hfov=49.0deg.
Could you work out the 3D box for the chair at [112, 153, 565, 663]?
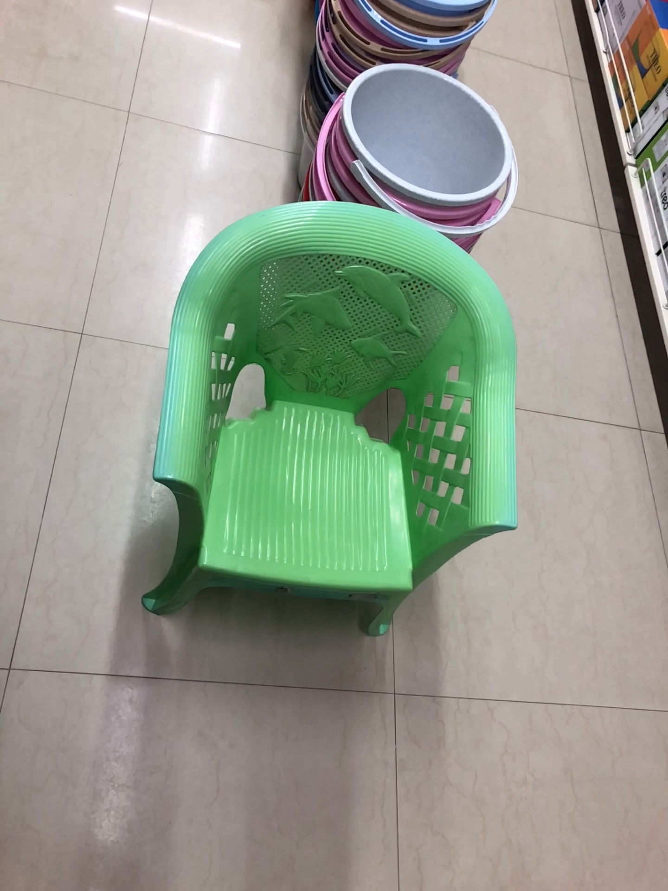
[{"bbox_3d":[-0.025,-0.010,0.958,0.430,0.398,0.472,9,62,-13],"label":"chair"}]
